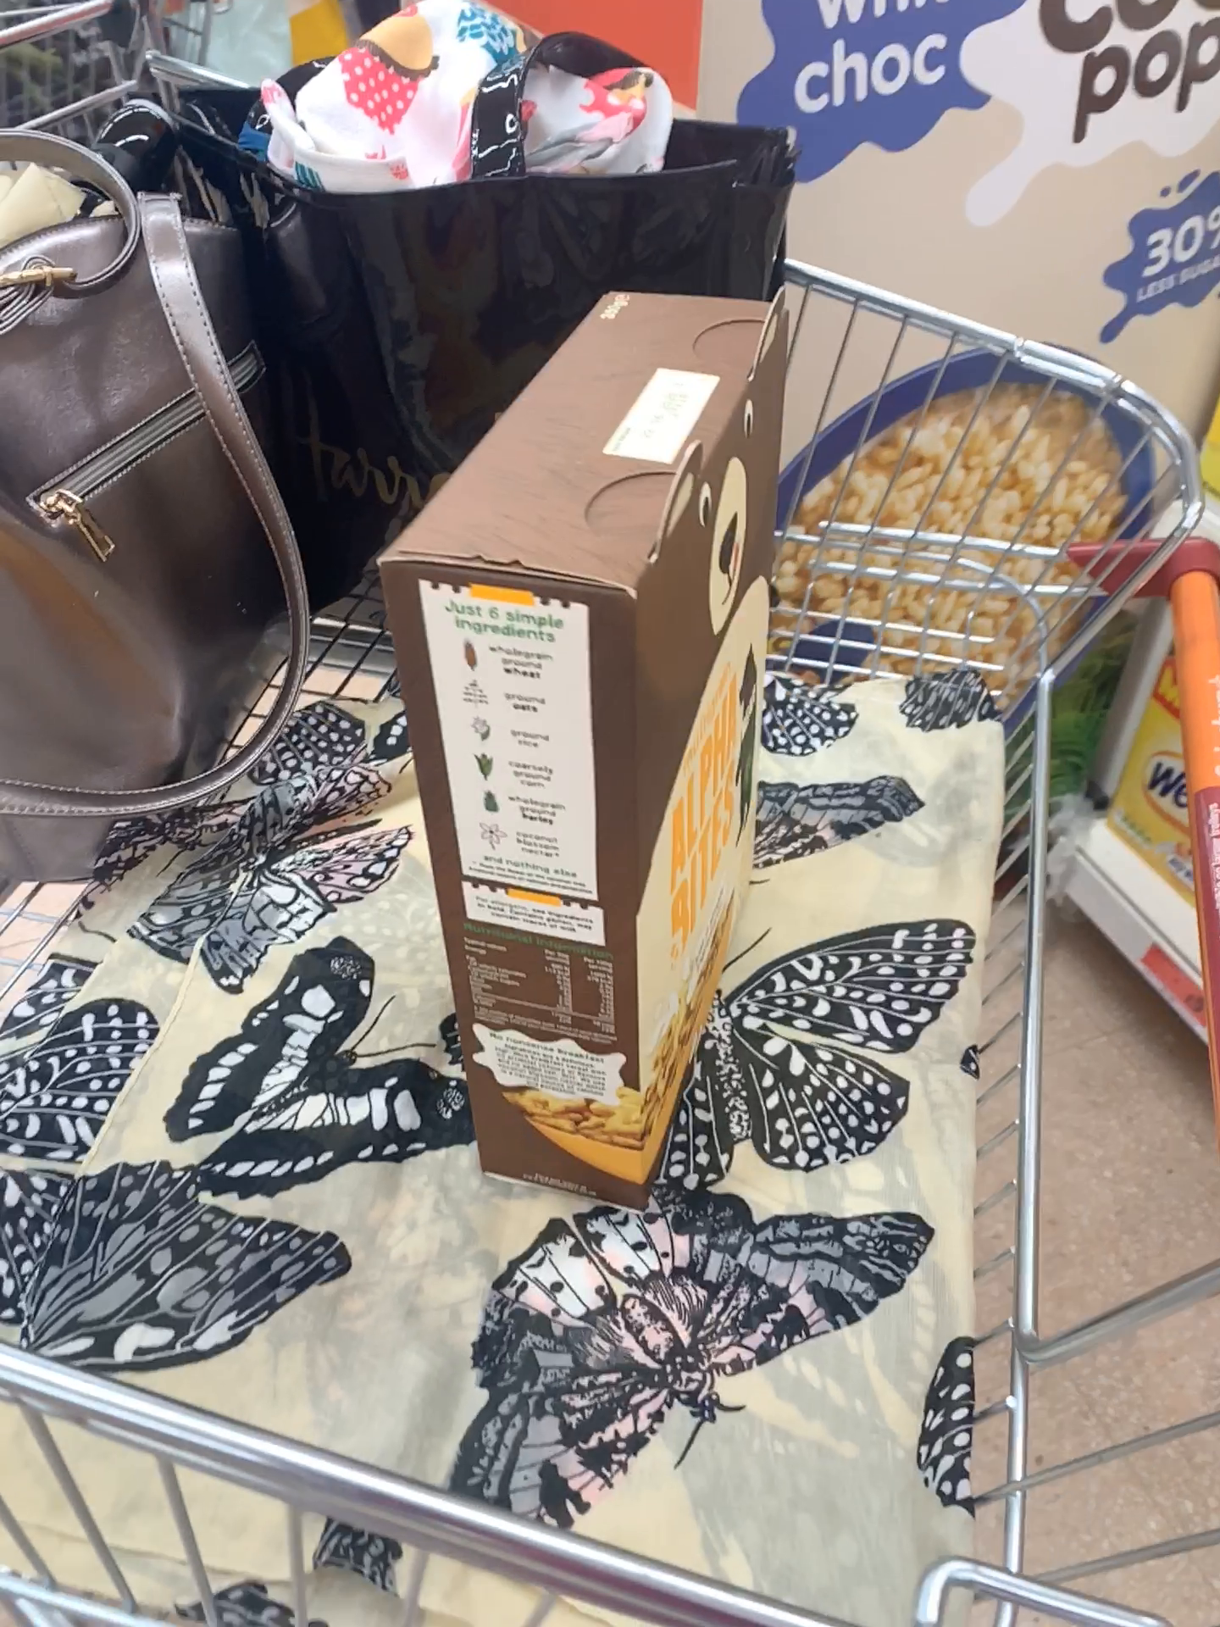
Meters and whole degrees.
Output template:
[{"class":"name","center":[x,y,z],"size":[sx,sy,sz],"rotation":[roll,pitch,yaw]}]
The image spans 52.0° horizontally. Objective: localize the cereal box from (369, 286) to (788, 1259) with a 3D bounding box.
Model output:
[{"class":"cereal box","center":[0.005,-0.010,0.471],"size":[0.070,0.297,0.202],"rotation":[10,41,13]}]
